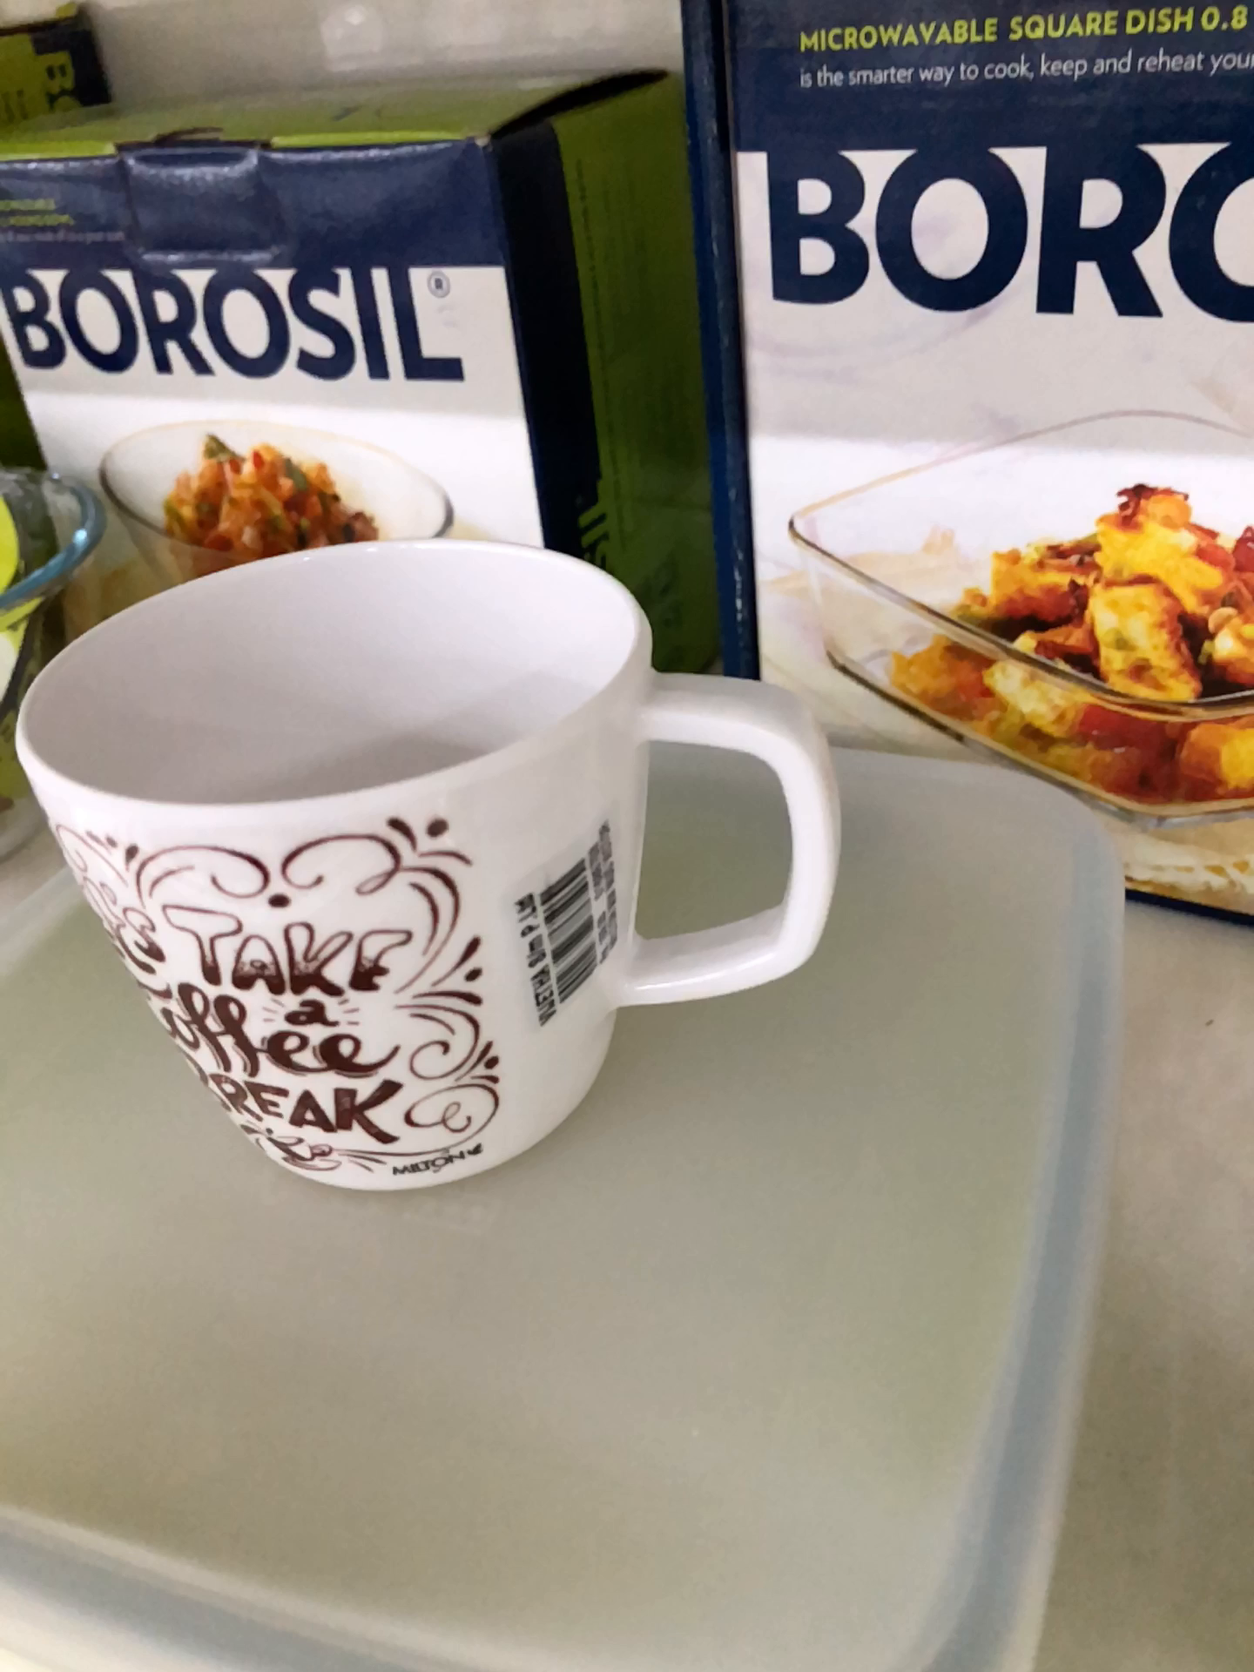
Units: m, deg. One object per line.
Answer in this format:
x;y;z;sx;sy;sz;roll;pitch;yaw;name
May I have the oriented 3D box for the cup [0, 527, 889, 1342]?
-0.020;0.006;0.181;0.100;0.070;0.070;3;33;14;cup
